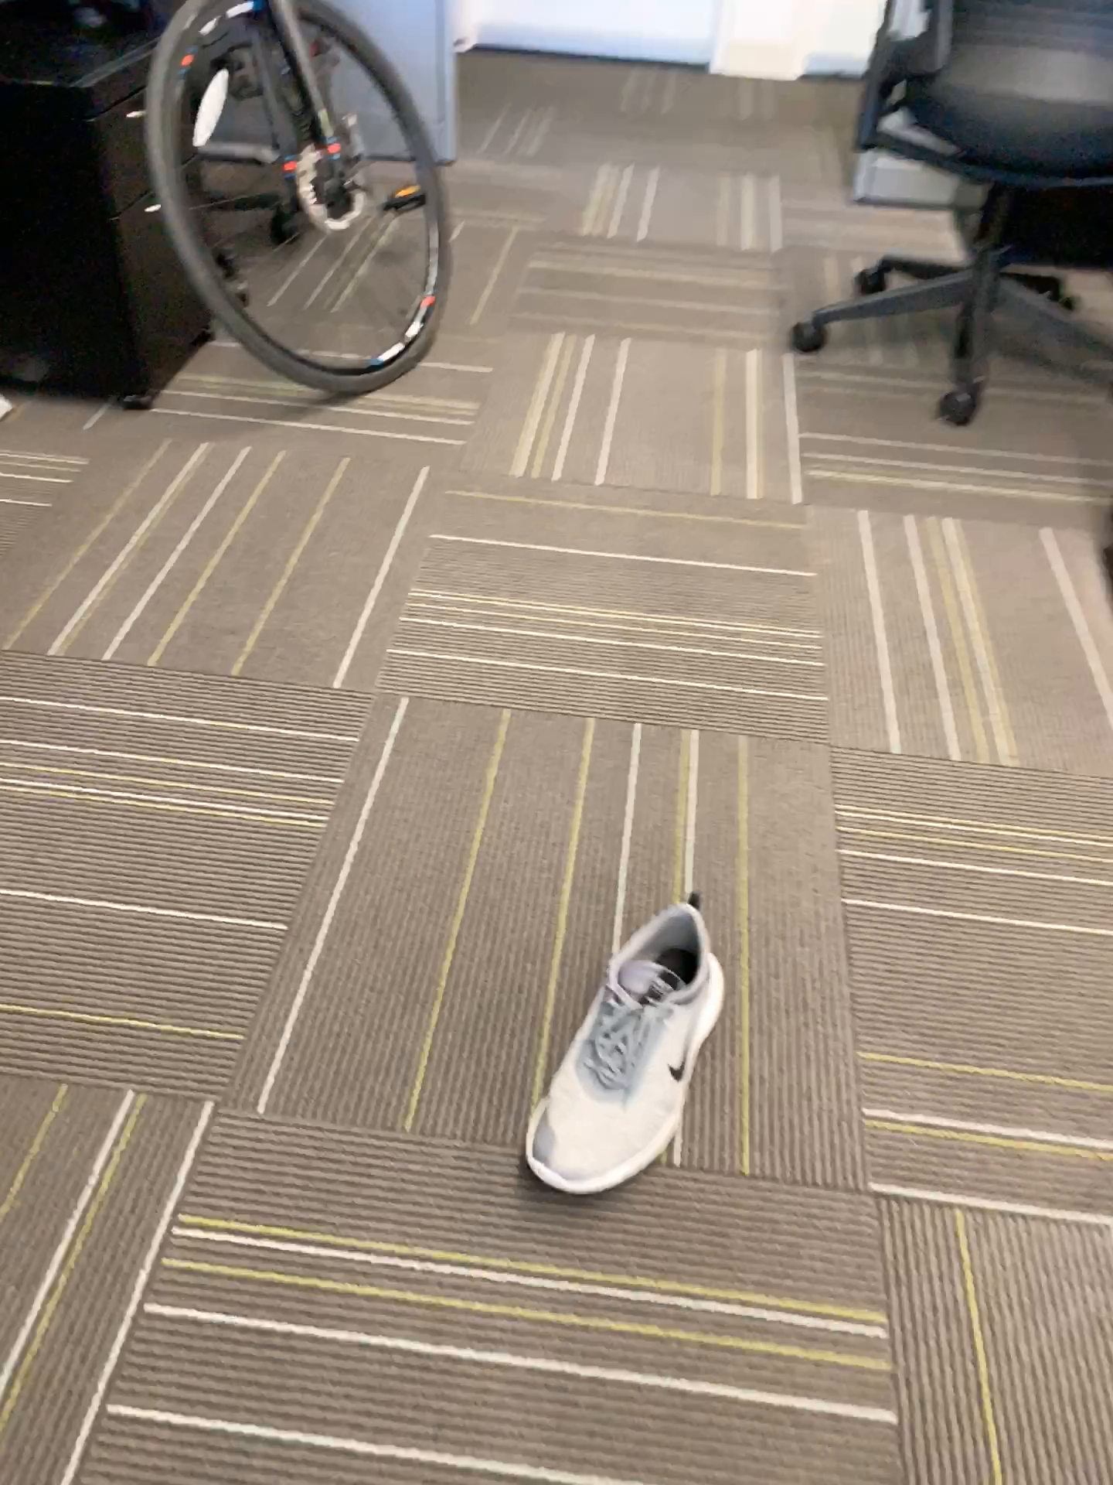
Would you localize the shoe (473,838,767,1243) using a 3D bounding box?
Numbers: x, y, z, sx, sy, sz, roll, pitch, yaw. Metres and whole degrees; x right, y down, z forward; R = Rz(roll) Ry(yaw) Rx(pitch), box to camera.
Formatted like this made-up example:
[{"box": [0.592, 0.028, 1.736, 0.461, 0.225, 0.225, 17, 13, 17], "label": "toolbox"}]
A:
[{"box": [0.067, 0.264, 1.070, 0.160, 0.110, 0.331, 18, 45, 15], "label": "shoe"}]
